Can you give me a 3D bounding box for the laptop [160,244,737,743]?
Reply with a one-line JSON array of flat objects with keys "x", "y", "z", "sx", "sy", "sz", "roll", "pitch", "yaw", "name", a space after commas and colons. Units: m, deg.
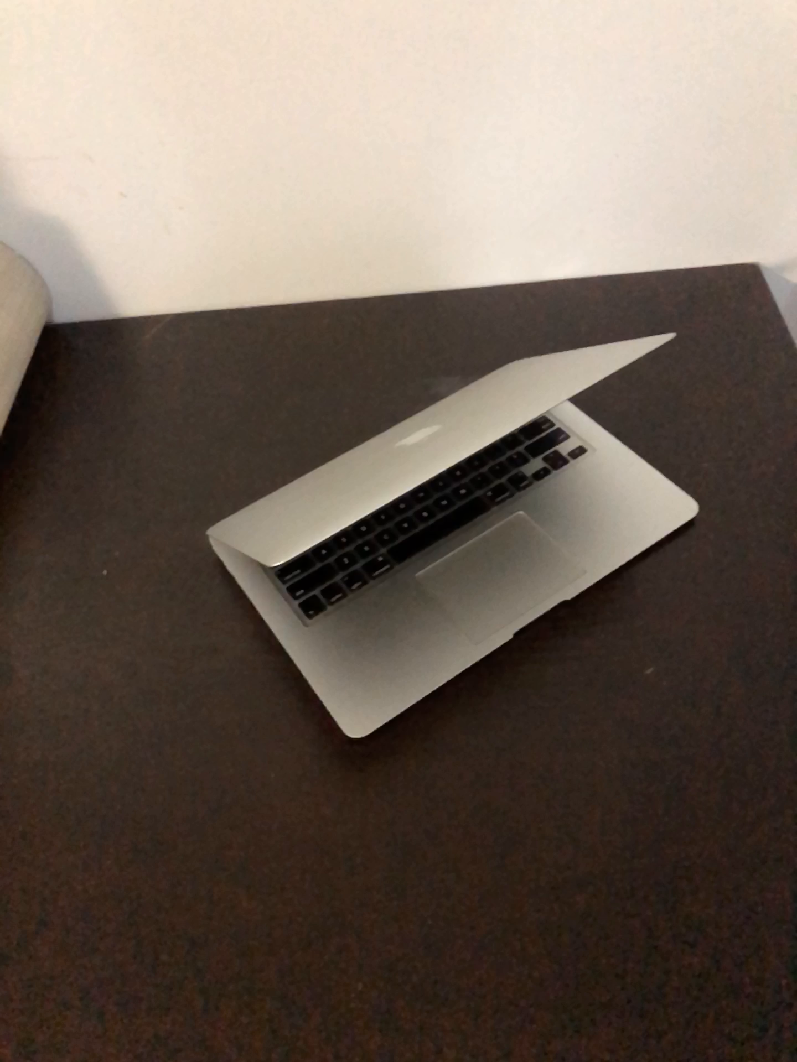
[{"x": 0.036, "y": -0.048, "z": 0.654, "sx": 0.331, "sy": 0.131, "sz": 0.226, "roll": -30, "pitch": 52, "yaw": -18, "name": "laptop"}]
